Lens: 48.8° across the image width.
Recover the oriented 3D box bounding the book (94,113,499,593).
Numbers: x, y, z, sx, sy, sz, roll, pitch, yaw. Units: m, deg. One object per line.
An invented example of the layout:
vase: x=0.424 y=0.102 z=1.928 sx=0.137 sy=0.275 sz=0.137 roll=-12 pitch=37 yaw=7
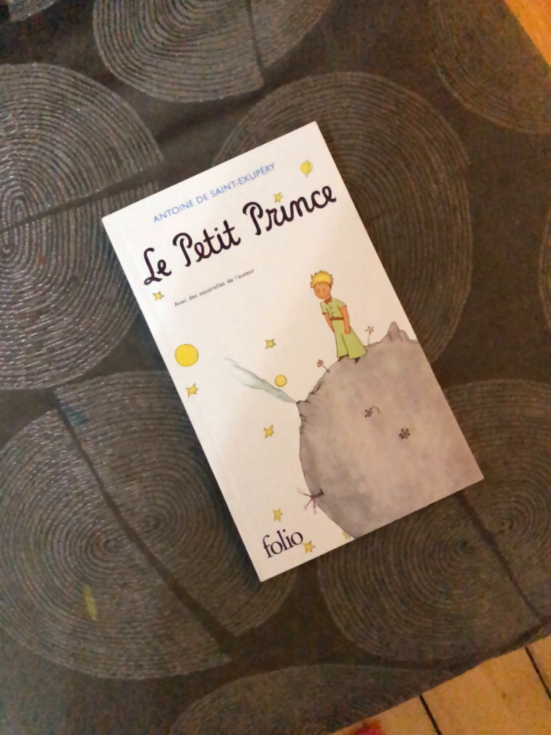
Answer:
book: x=0.010 y=-0.006 z=0.268 sx=0.110 sy=0.030 sz=0.170 roll=-24 pitch=91 yaw=-3
